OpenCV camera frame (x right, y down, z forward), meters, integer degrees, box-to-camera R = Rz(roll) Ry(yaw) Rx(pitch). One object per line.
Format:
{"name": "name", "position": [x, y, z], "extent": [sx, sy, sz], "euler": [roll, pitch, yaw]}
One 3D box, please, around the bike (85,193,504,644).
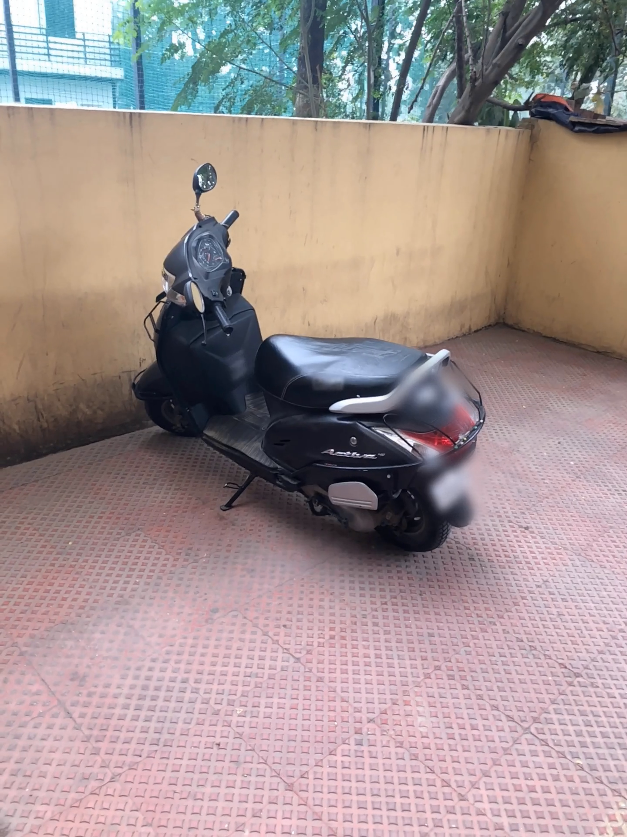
{"name": "bike", "position": [-0.165, -0.142, 2.577], "extent": [1.484, 1.139, 0.580], "euler": [23, 30, 36]}
